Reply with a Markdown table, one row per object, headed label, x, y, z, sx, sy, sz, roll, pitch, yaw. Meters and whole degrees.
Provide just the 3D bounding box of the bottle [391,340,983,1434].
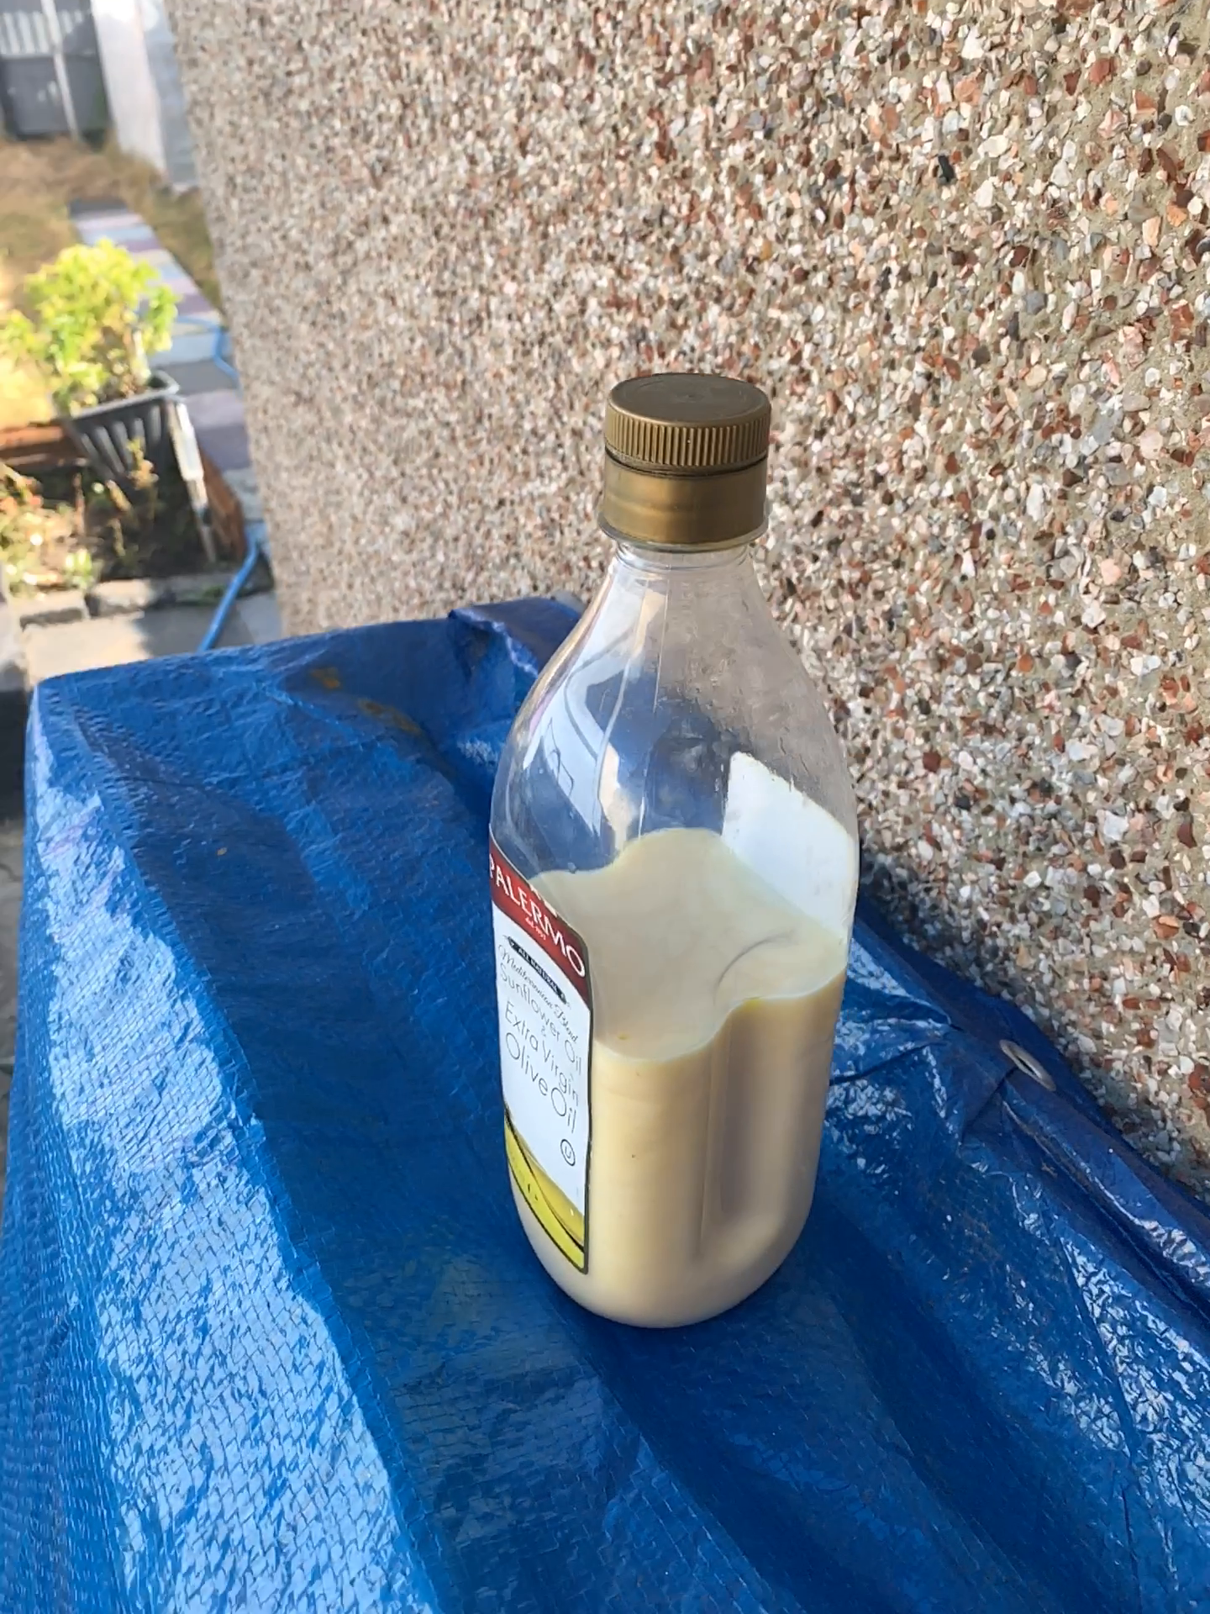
| label | x | y | z | sx | sy | sz | roll | pitch | yaw |
| --- | --- | --- | --- | --- | --- | --- | --- | --- | --- |
| bottle | 0.015 | 0.027 | 0.294 | 0.080 | 0.238 | 0.081 | -1 | 32 | 1 |
